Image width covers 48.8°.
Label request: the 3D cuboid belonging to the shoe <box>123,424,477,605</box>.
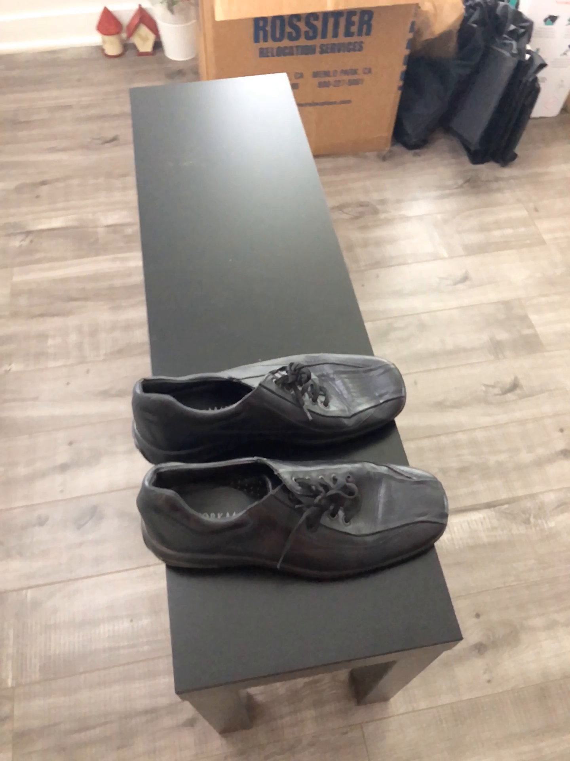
[{"bbox_3d":[0.009,0.125,0.579,0.286,0.110,0.110,-3,57,-4],"label":"shoe"}]

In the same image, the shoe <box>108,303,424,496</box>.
[{"bbox_3d":[-0.022,0.019,0.639,0.283,0.110,0.110,-9,58,-7],"label":"shoe"}]
